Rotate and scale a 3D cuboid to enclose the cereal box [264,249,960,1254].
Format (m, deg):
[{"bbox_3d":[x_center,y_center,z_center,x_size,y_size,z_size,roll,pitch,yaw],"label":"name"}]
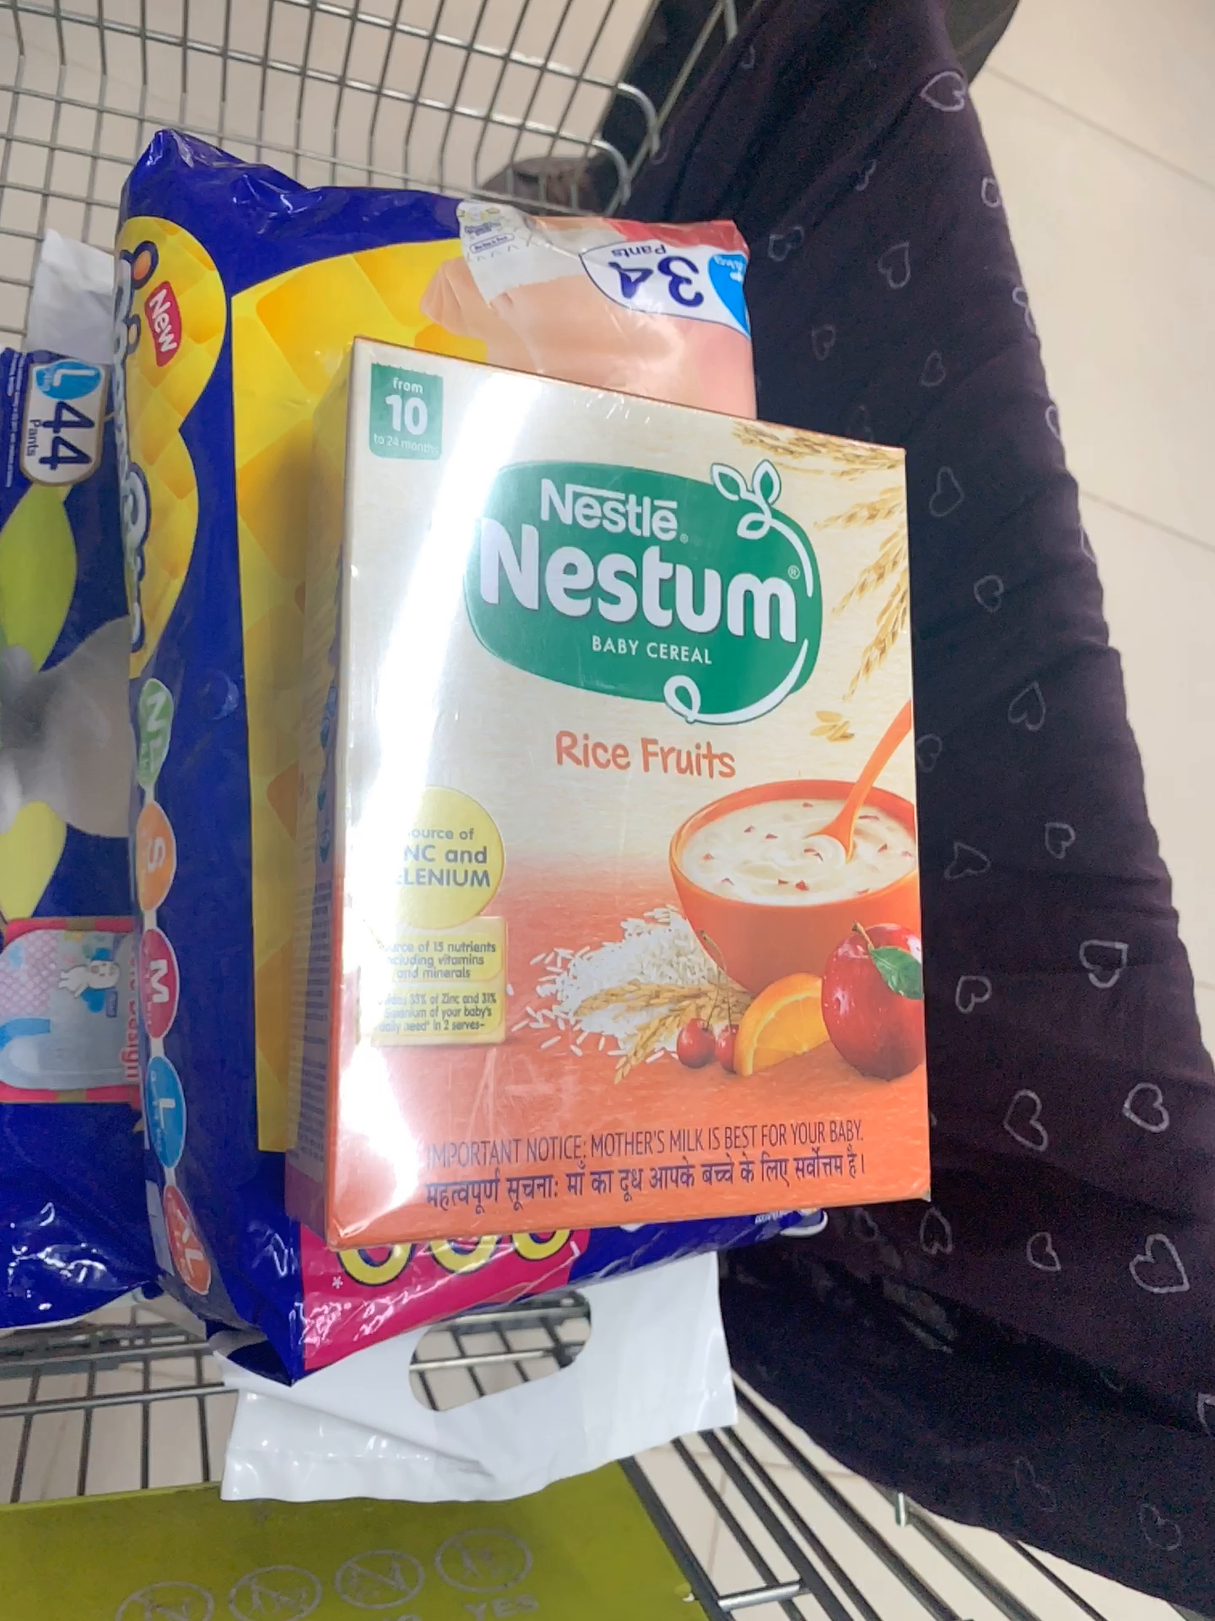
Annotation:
[{"bbox_3d":[0.004,-0.010,0.313,0.160,0.050,0.210,3,82,-23],"label":"cereal box"}]
